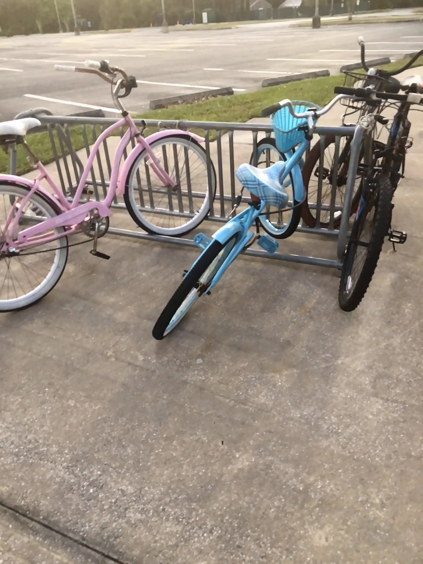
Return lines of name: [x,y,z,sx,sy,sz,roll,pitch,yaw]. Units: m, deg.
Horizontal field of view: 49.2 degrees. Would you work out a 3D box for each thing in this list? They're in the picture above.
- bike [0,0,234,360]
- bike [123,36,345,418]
bike: [-0.738,-0.704,2.462,1.609,1.146,0.774,-34,40,-30]
bike: [0.215,-0.411,2.137,0.583,0.953,1.425,7,38,19]
